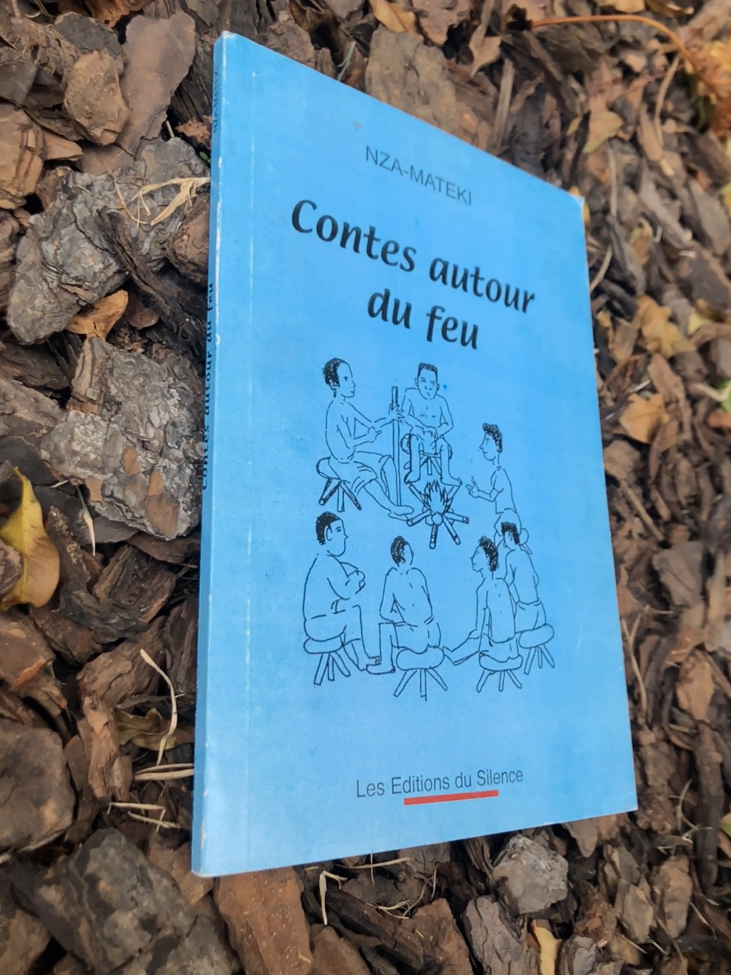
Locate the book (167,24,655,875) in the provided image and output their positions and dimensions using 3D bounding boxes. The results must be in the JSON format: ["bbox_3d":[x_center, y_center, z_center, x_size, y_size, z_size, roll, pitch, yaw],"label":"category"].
[{"bbox_3d":[0.020,-0.011,0.232,0.144,0.015,0.202,9,72,-34],"label":"book"}]
